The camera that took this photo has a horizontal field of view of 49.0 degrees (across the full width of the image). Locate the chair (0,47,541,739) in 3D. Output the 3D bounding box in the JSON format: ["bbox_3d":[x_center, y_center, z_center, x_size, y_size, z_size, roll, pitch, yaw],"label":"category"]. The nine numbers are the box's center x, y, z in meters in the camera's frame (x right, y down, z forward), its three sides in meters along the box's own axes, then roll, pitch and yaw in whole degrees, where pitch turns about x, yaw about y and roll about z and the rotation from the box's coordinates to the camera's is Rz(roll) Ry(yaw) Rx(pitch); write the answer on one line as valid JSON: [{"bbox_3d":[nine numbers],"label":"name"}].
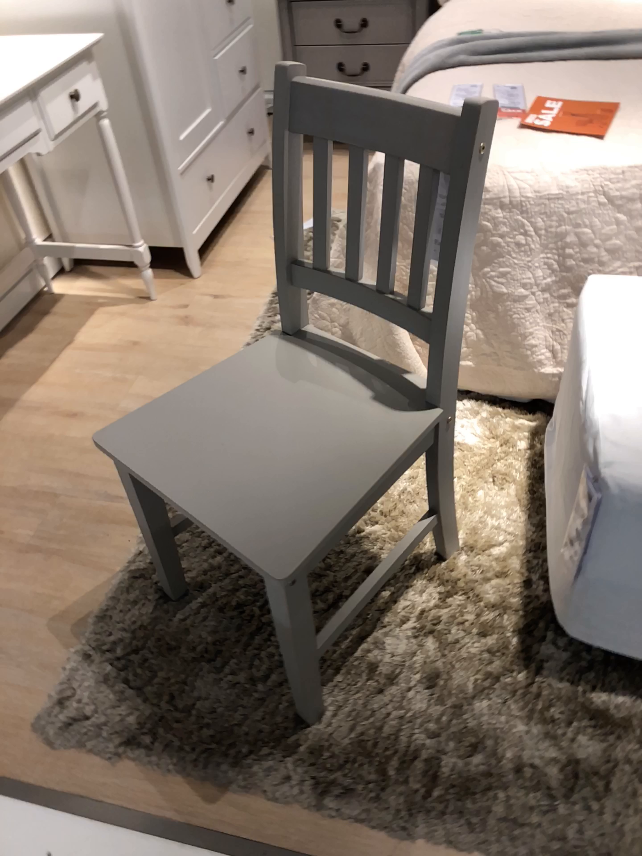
[{"bbox_3d":[-0.062,-0.050,1.115,0.482,0.824,0.532,29,52,32],"label":"chair"}]
